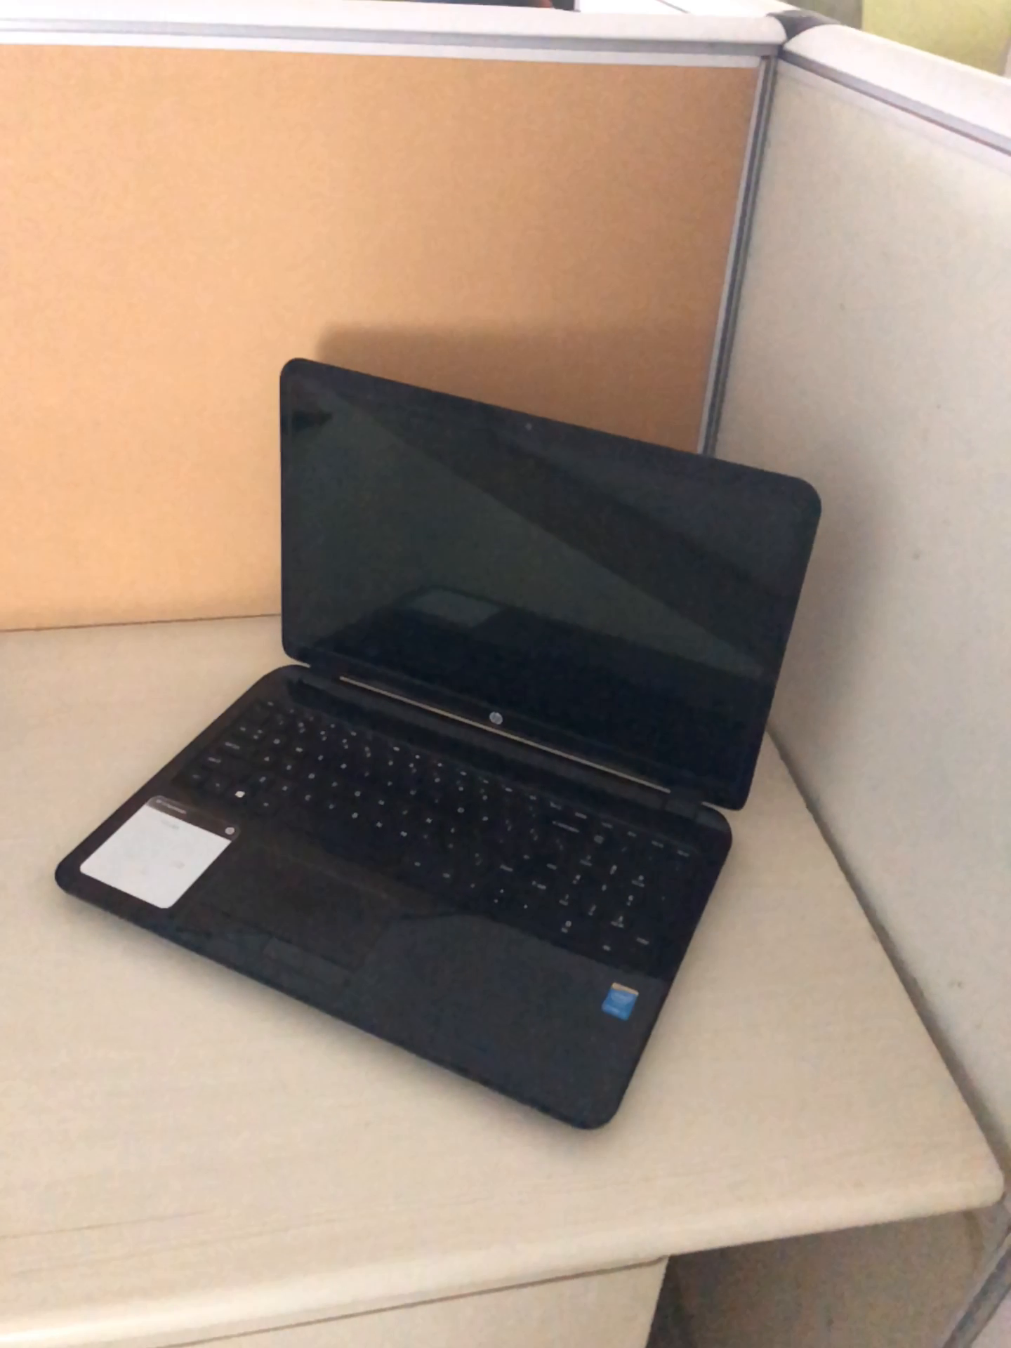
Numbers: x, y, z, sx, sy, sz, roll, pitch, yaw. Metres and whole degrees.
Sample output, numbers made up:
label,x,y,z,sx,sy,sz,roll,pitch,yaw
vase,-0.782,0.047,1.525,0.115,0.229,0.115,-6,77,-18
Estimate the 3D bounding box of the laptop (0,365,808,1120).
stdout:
label,x,y,z,sx,sy,sz,roll,pitch,yaw
laptop,-0.053,0.012,0.650,0.351,0.225,0.266,18,40,19
